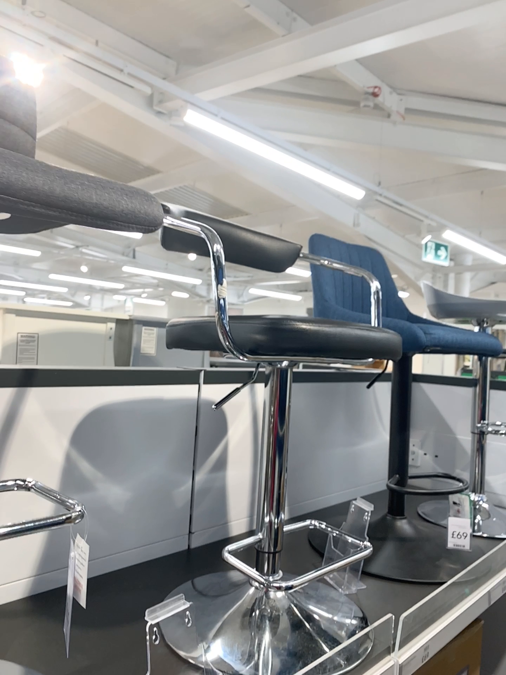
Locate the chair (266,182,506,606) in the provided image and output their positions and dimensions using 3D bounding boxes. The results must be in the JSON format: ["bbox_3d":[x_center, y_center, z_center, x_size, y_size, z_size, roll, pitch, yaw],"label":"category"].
[{"bbox_3d":[0.441,0.126,1.551,0.536,0.954,0.521,1,-3,45],"label":"chair"}]

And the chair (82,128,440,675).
[{"bbox_3d":[0.037,0.133,1.070,0.466,0.854,0.511,2,-3,40],"label":"chair"}]

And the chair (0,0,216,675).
[{"bbox_3d":[-0.427,0.002,0.673,0.466,1.064,0.511,1,-3,40],"label":"chair"}]
